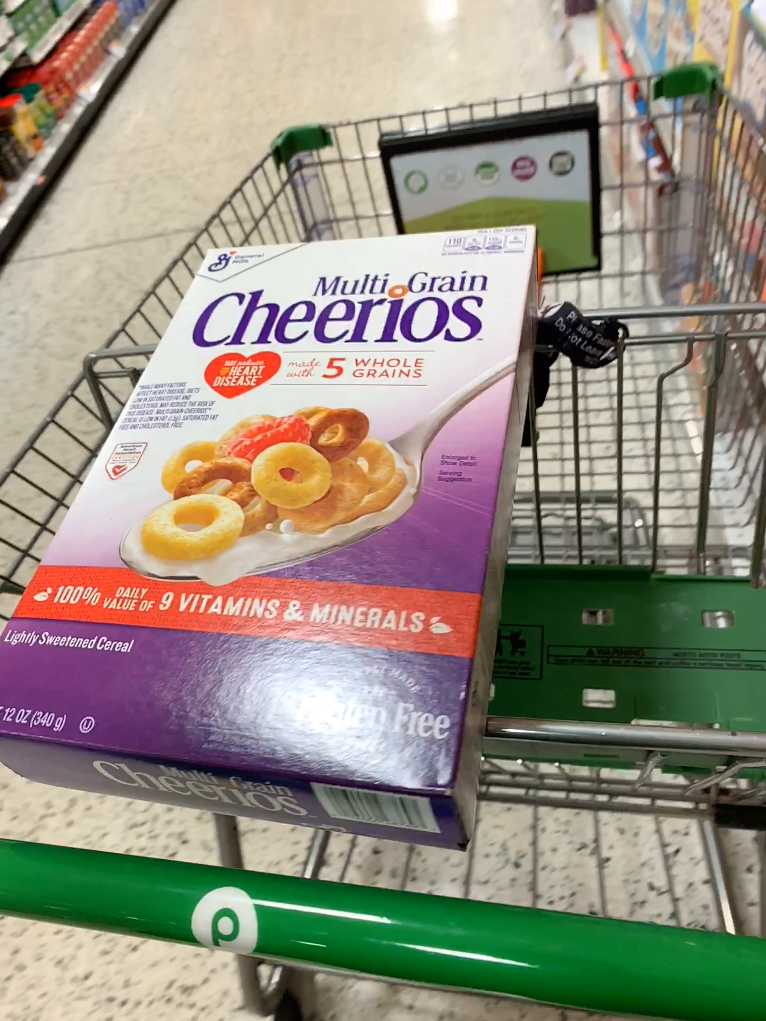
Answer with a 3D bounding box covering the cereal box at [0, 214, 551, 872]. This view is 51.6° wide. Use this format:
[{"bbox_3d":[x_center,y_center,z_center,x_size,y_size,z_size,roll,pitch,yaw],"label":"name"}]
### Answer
[{"bbox_3d":[-0.031,-0.017,0.391,0.200,0.069,0.322,2,52,16],"label":"cereal box"}]
